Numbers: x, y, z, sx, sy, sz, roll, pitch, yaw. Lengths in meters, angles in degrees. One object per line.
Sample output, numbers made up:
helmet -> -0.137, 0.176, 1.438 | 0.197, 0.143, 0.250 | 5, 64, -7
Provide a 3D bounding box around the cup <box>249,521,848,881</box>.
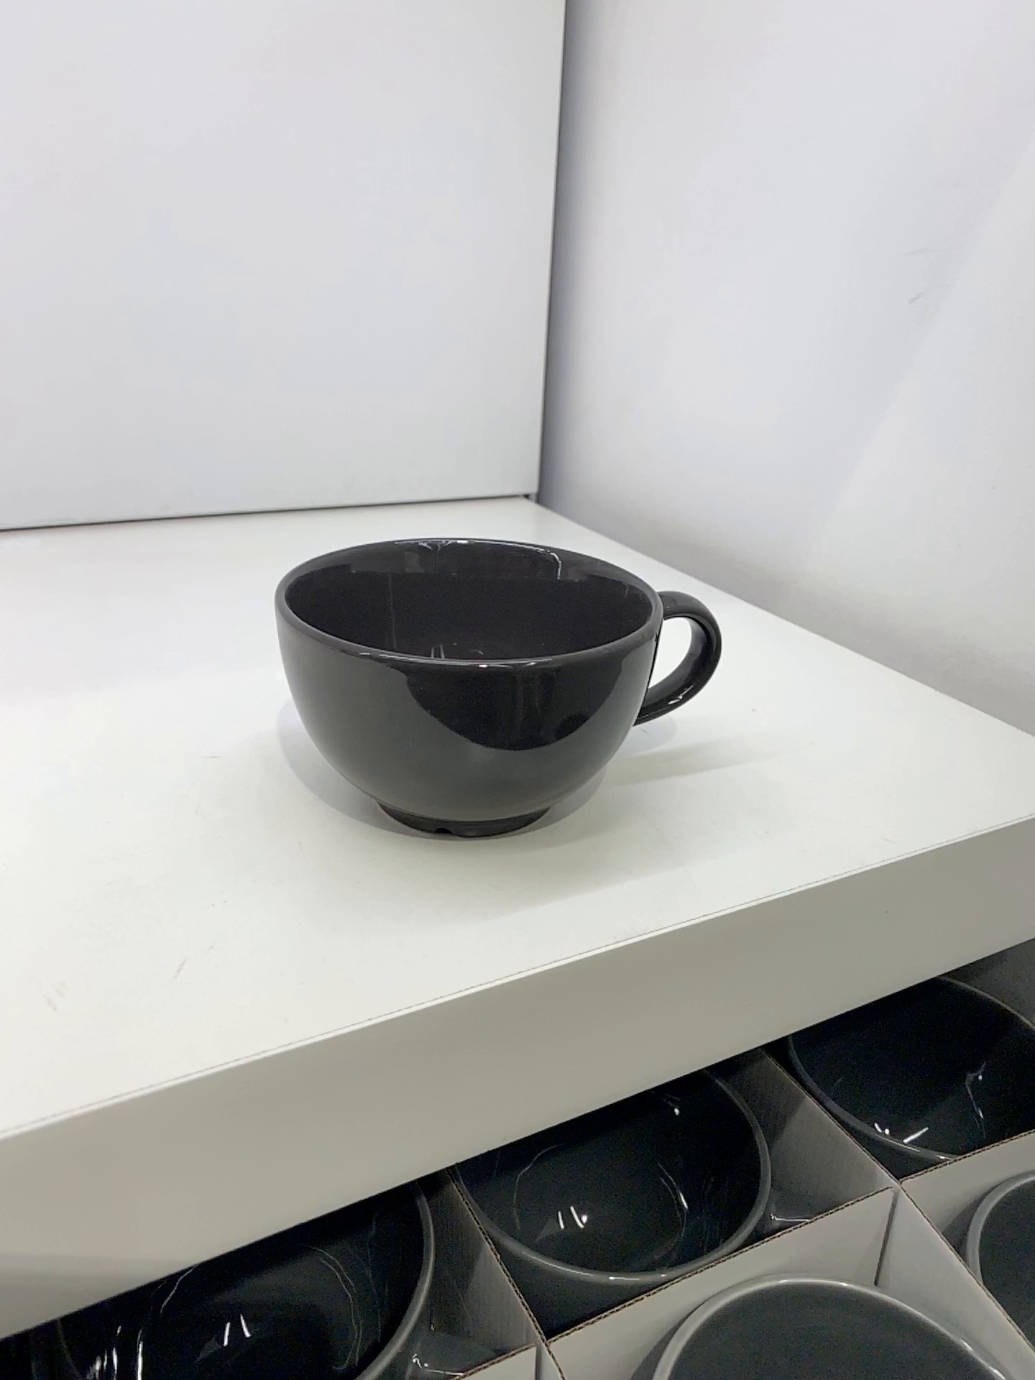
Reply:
cup -> 0.001, -0.007, 0.302 | 0.130, 0.050, 0.110 | -6, 24, -22
